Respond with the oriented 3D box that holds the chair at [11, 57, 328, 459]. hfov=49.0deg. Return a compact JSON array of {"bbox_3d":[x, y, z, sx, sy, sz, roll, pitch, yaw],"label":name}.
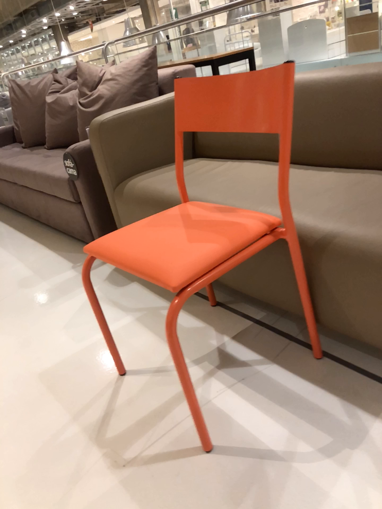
[{"bbox_3d":[-0.022,-0.030,1.128,0.491,0.784,0.502,-29,29,-29],"label":"chair"}]
